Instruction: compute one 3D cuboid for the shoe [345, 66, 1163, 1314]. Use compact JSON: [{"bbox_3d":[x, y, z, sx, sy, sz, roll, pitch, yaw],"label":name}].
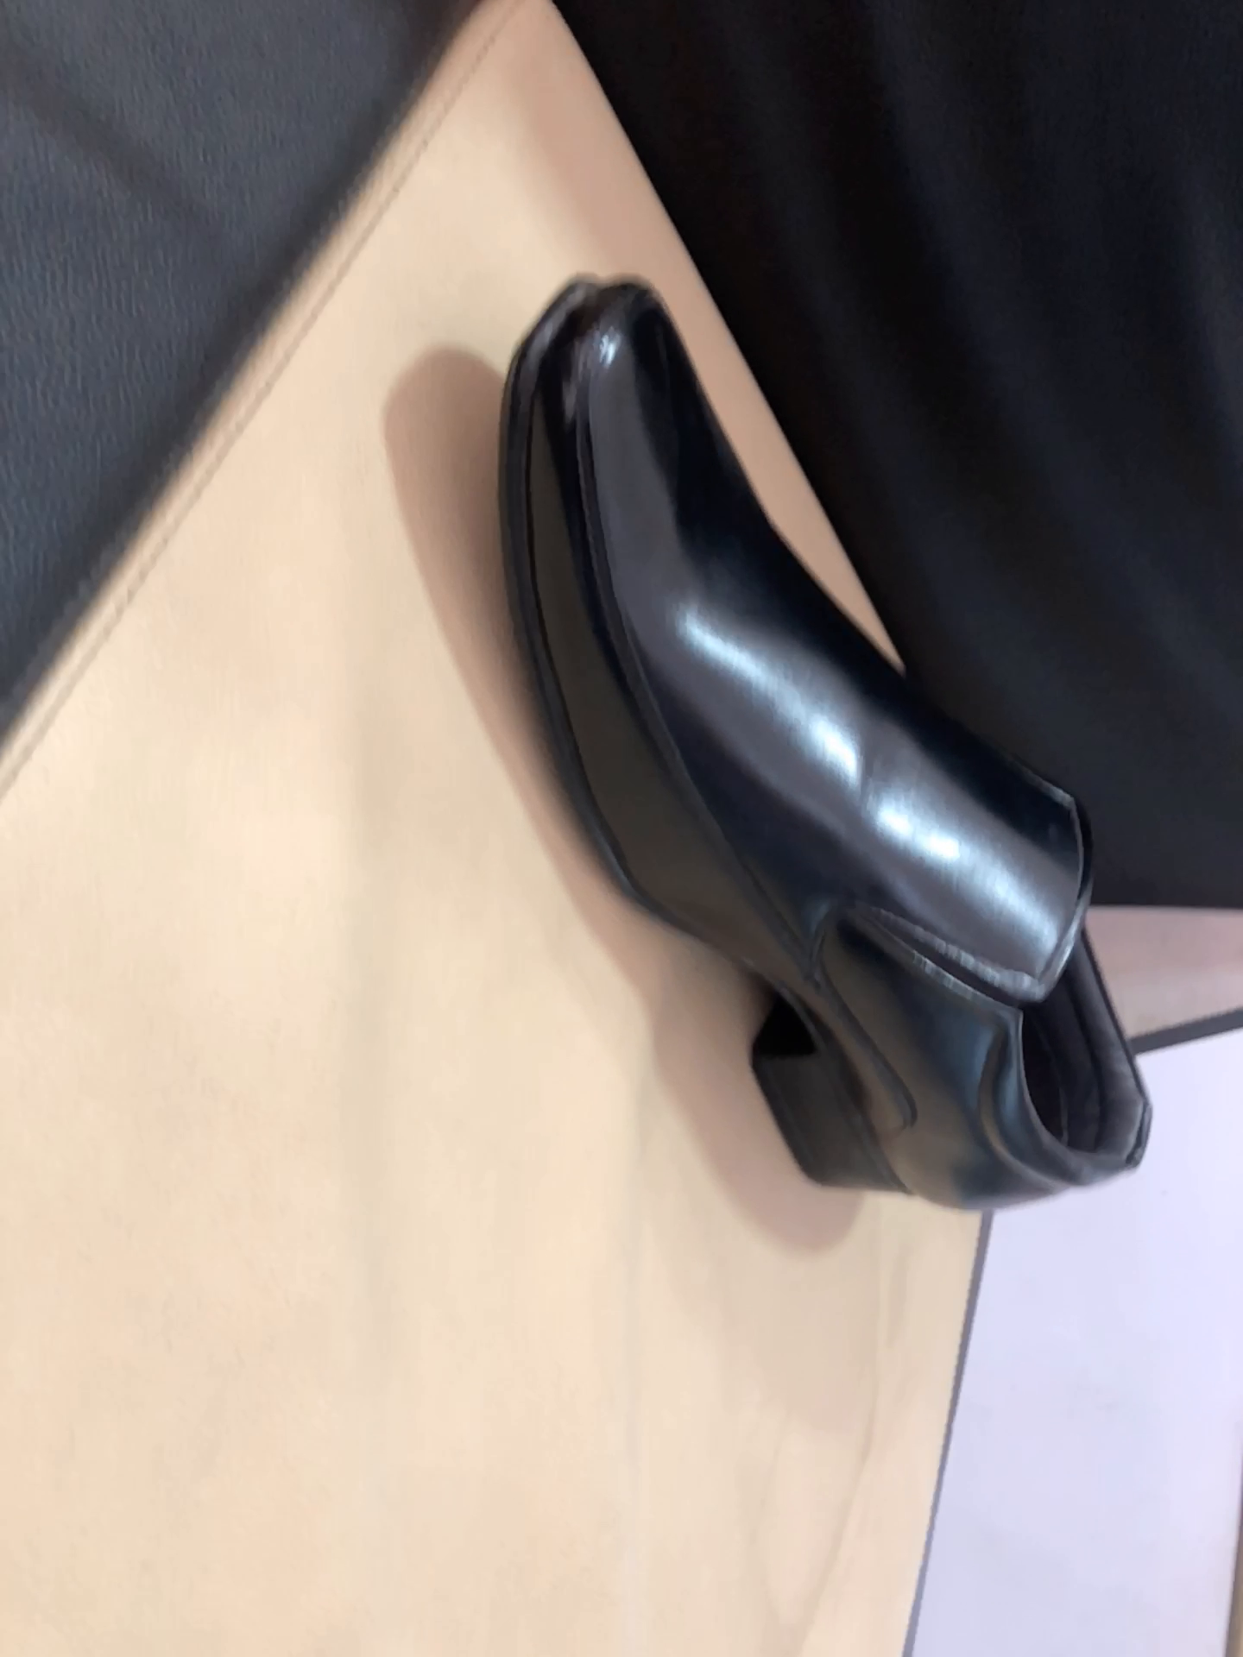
[{"bbox_3d":[0.065,-0.004,0.364,0.322,0.079,0.100,60,43,-36],"label":"shoe"}]
